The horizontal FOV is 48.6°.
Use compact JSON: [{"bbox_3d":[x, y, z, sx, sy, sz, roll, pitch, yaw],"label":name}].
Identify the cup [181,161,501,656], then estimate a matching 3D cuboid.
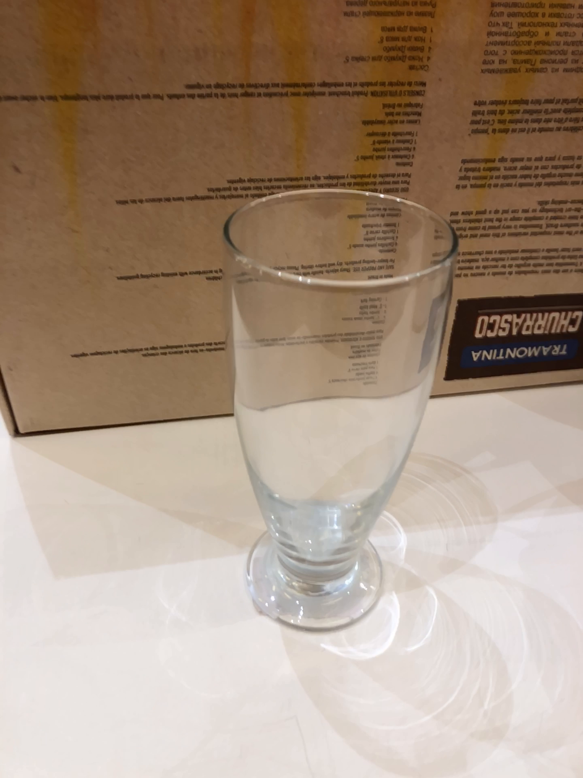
[{"bbox_3d":[0.009,0.014,0.273,0.090,0.188,0.081,-6,36,-10],"label":"cup"}]
